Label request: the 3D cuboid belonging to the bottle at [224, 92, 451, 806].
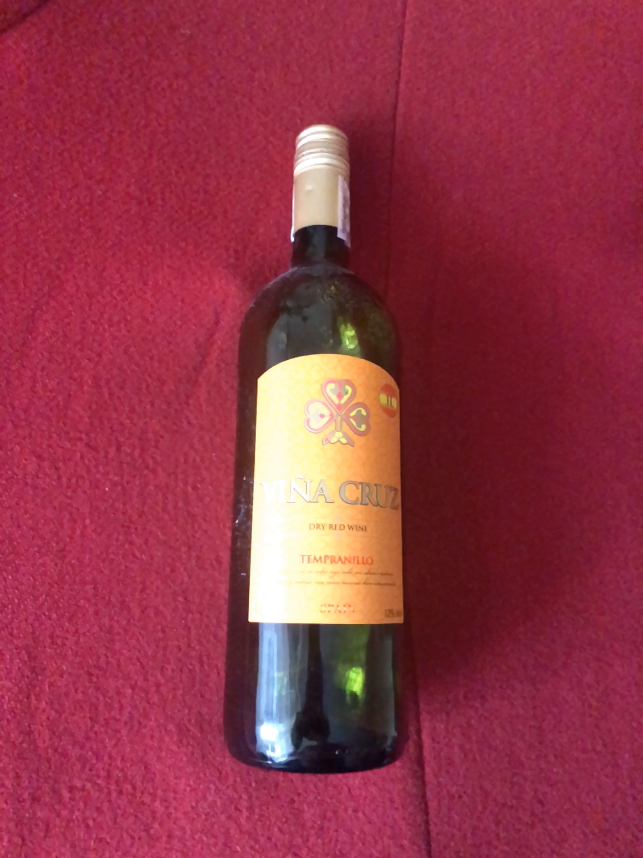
[{"bbox_3d":[0.004,0.001,0.336,0.080,0.070,0.300,4,76,-13],"label":"bottle"}]
